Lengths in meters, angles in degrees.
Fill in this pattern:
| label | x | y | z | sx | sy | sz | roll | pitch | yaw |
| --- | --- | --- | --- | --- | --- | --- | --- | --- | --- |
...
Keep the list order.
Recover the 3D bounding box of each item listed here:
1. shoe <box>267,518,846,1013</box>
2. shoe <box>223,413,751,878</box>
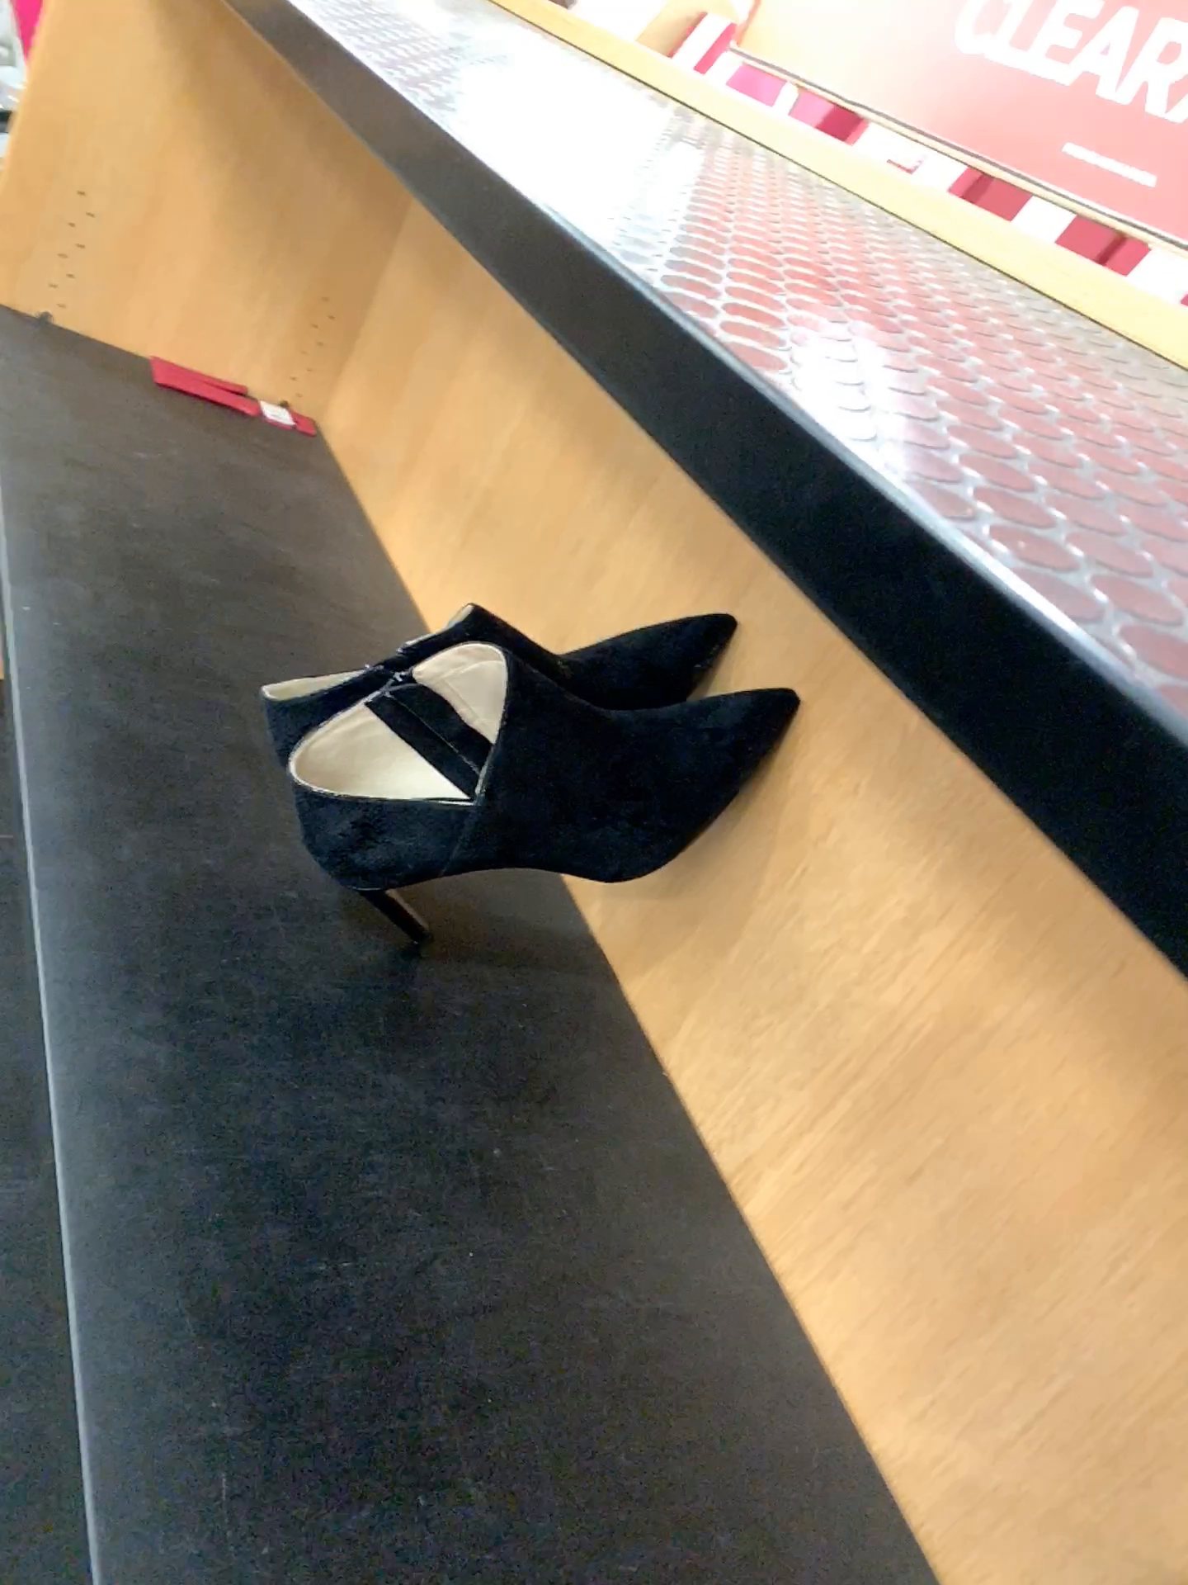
| label | x | y | z | sx | sy | sz | roll | pitch | yaw |
| --- | --- | --- | --- | --- | --- | --- | --- | --- | --- |
| shoe | -0.022 | -0.018 | 0.679 | 0.120 | 0.280 | 0.111 | 63 | -3 | -35 |
| shoe | -0.060 | -0.088 | 0.738 | 0.101 | 0.270 | 0.140 | 58 | -5 | 44 |
